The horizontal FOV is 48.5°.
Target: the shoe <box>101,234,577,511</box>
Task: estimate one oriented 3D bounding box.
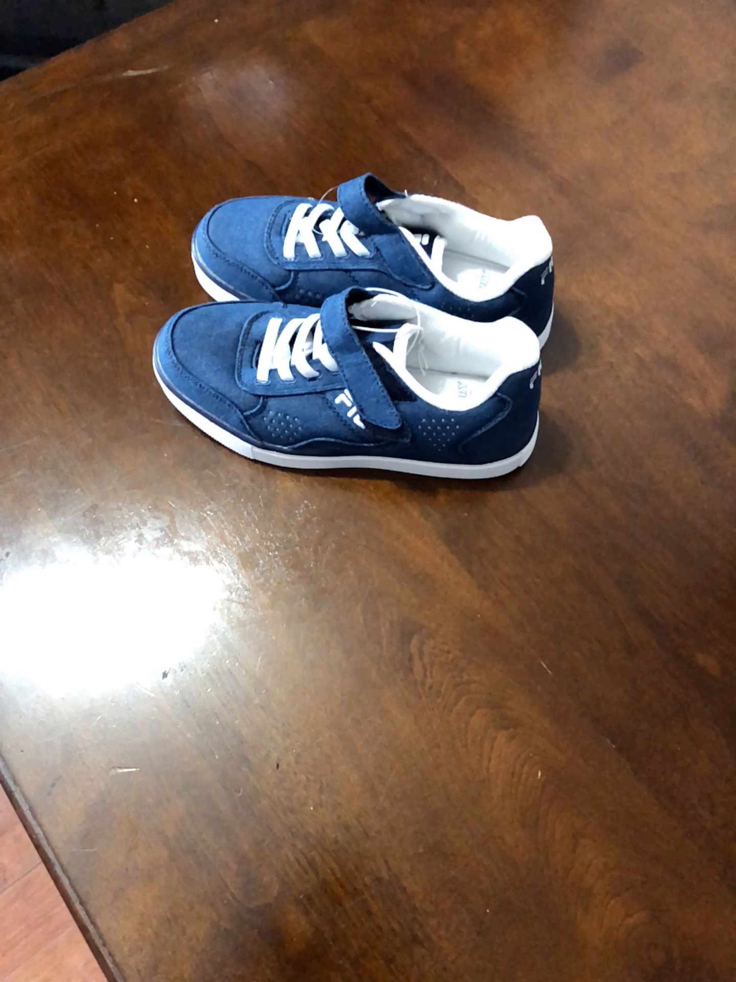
[{"bbox_3d":[-0.012,-0.067,0.472,0.240,0.080,0.100,8,65,3],"label":"shoe"}]

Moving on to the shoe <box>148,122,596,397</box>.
[{"bbox_3d":[0.004,-0.140,0.500,0.240,0.080,0.090,12,66,5],"label":"shoe"}]
